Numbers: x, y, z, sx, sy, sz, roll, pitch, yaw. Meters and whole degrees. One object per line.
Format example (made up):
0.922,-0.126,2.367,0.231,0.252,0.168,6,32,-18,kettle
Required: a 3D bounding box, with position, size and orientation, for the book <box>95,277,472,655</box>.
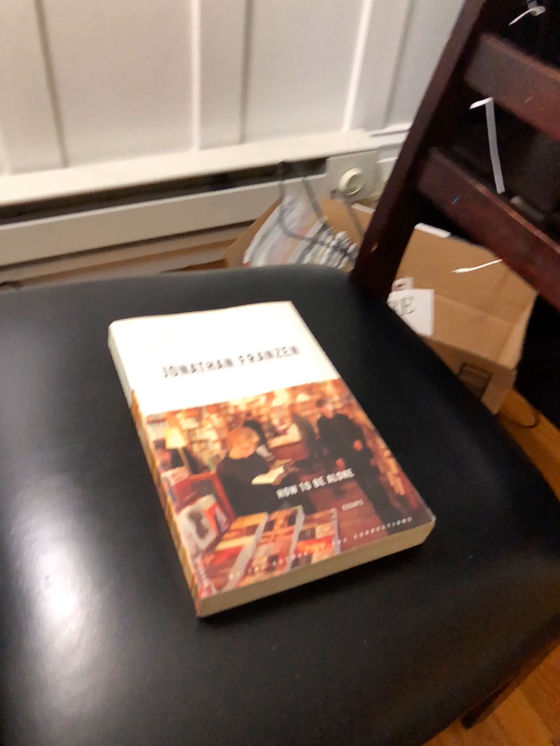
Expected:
-0.014,0.034,0.397,0.160,0.040,0.231,-13,48,-19,book
